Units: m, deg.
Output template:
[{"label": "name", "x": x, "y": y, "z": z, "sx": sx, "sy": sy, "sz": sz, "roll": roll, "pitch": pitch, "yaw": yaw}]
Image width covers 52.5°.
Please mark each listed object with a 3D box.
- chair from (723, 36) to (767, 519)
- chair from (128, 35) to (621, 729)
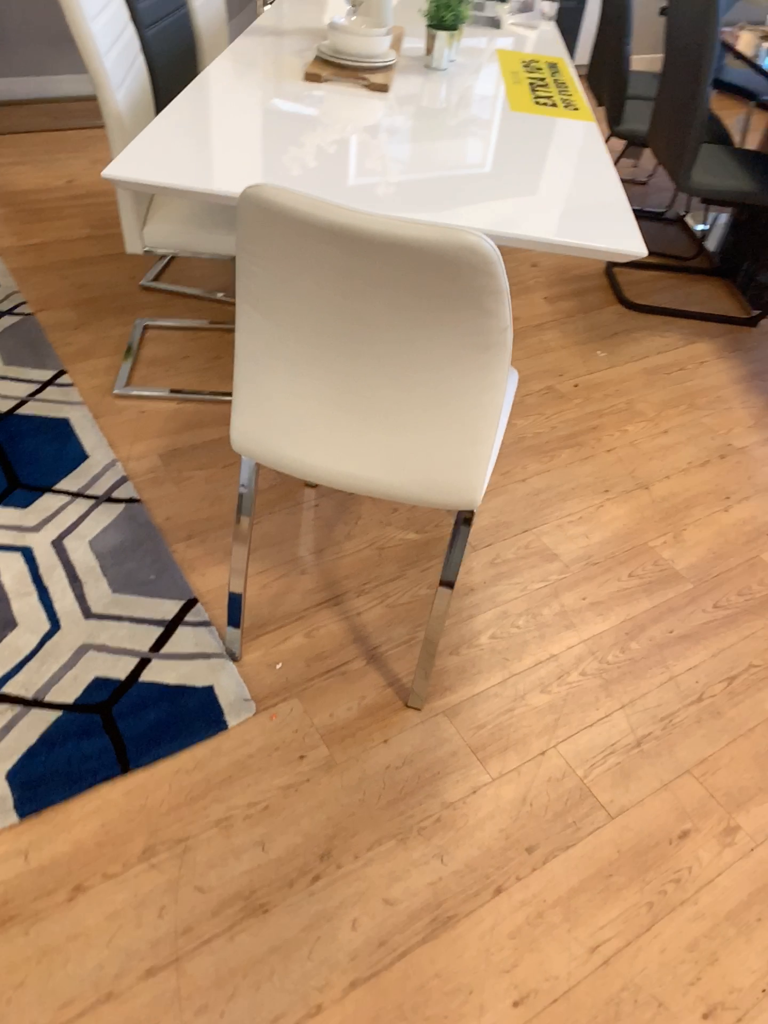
[{"label": "chair", "x": 1.279, "y": -0.520, "z": 1.810, "sx": 0.515, "sy": 0.863, "sz": 0.554, "roll": 8, "pitch": 42, "yaw": 0}, {"label": "chair", "x": 0.007, "y": -0.207, "z": 1.308, "sx": 0.515, "sy": 0.863, "sz": 0.635, "roll": 13, "pitch": 42, "yaw": 6}]
